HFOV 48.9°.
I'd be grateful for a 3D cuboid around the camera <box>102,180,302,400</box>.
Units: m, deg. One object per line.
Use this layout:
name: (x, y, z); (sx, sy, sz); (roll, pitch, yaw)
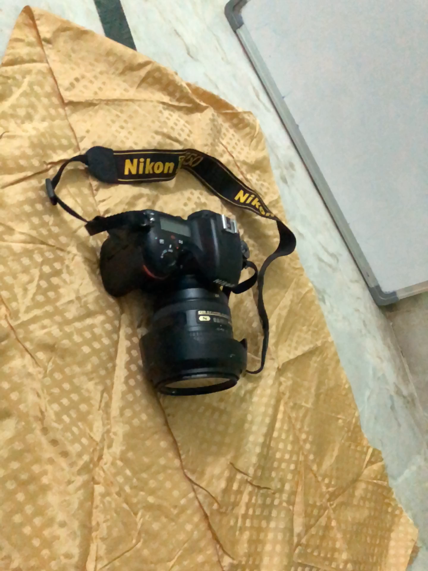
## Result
camera: (-0.015, 0.018, 0.460); (0.149, 0.109, 0.170); (13, 65, -42)
